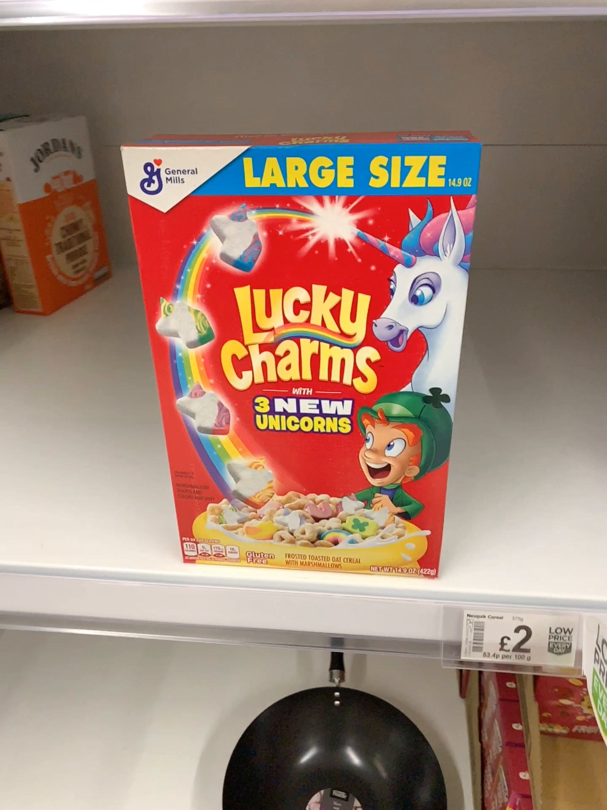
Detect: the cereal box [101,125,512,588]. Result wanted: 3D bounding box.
[{"bbox_3d":[0.004,-0.021,0.417,0.210,0.297,0.071,2,28,5],"label":"cereal box"}]
